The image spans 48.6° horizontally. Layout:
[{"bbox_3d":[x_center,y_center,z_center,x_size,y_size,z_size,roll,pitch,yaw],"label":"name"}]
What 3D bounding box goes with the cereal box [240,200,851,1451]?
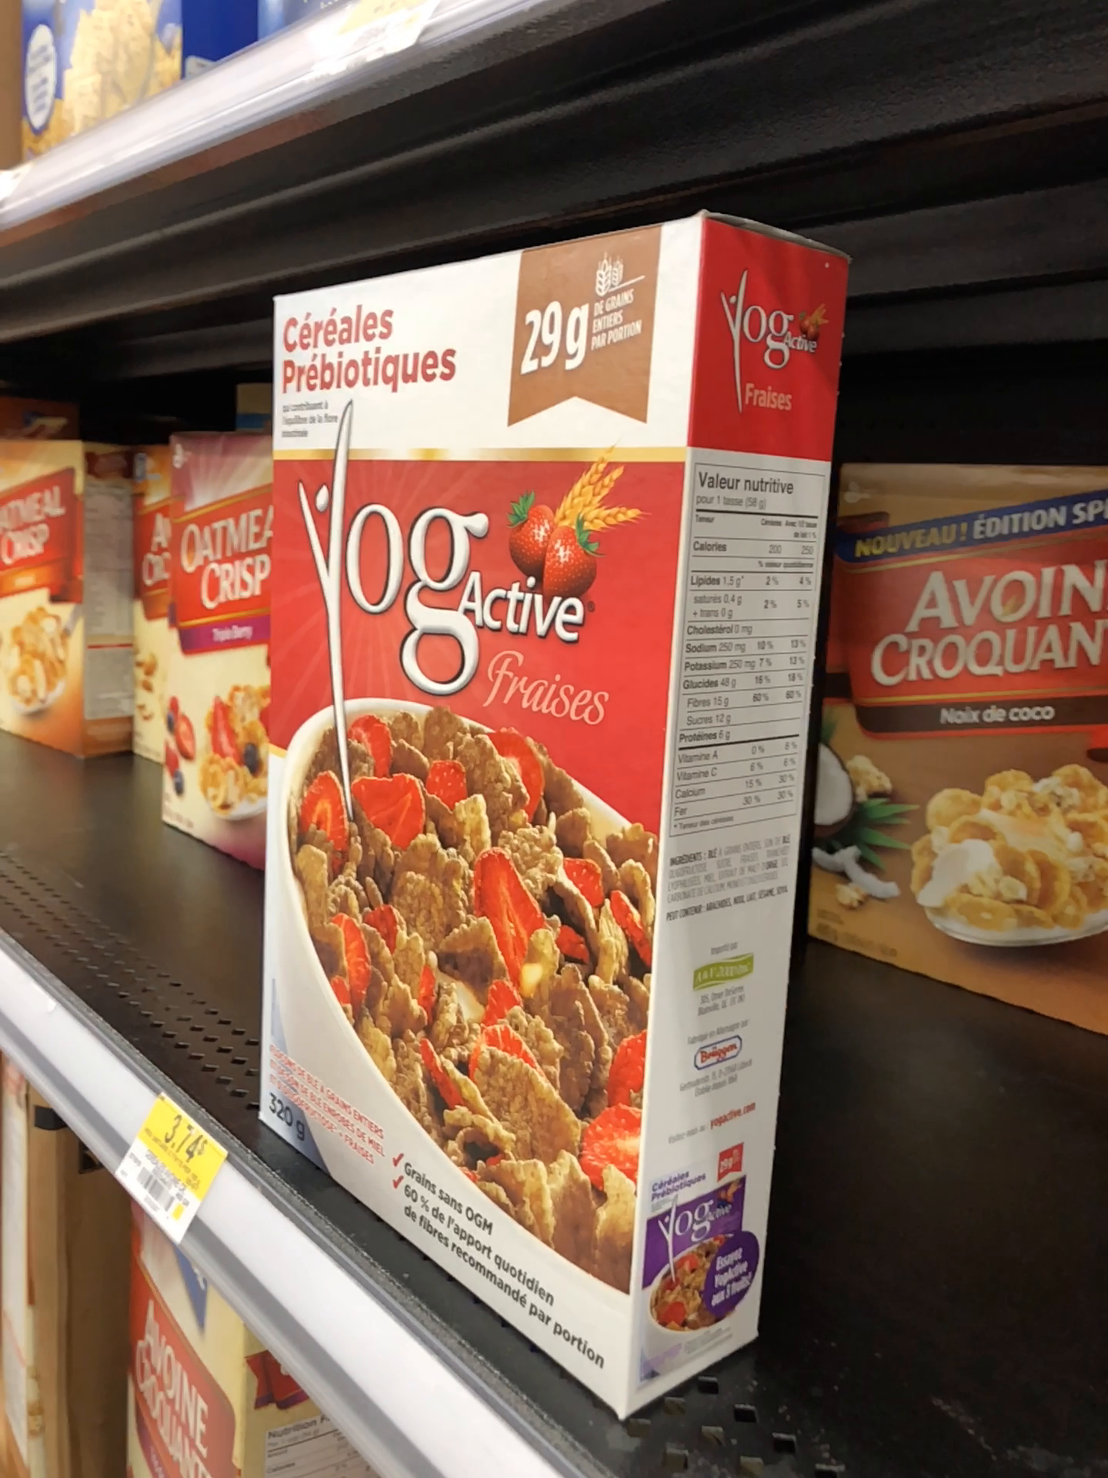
[{"bbox_3d":[-0.023,0.012,0.366,0.050,0.289,0.200,-6,13,-41],"label":"cereal box"}]
